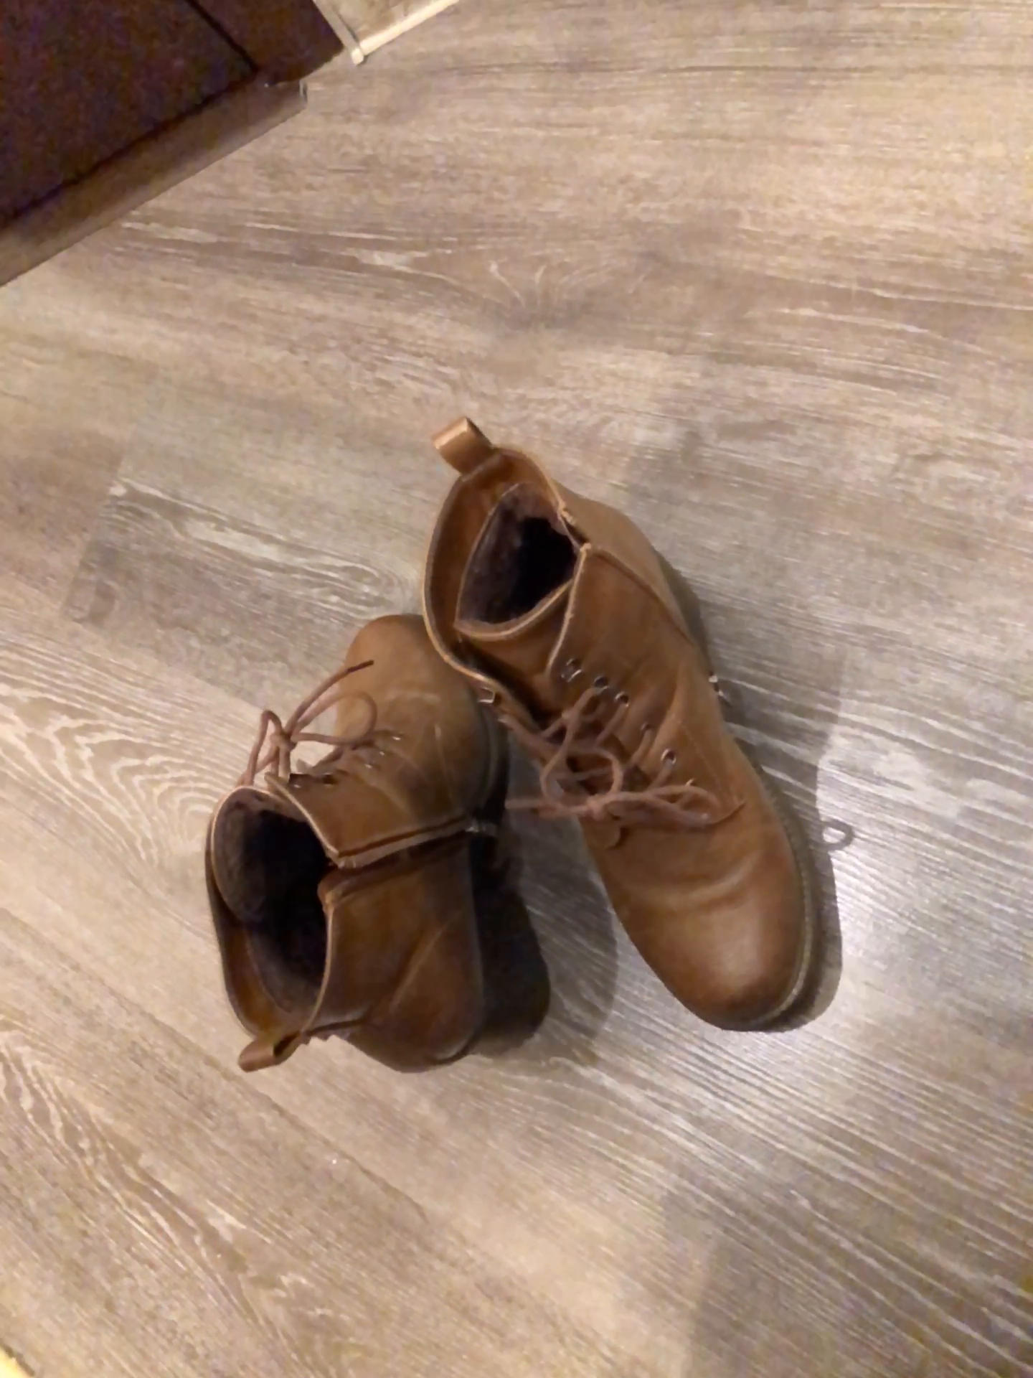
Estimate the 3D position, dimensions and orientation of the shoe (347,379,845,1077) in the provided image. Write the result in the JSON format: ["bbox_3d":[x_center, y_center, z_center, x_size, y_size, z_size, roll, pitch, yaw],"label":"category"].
[{"bbox_3d":[0.038,0.028,0.460,0.090,0.189,0.220,-19,68,24],"label":"shoe"}]

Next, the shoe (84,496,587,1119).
[{"bbox_3d":[-0.079,0.058,0.511,0.100,0.169,0.221,-26,66,21],"label":"shoe"}]
